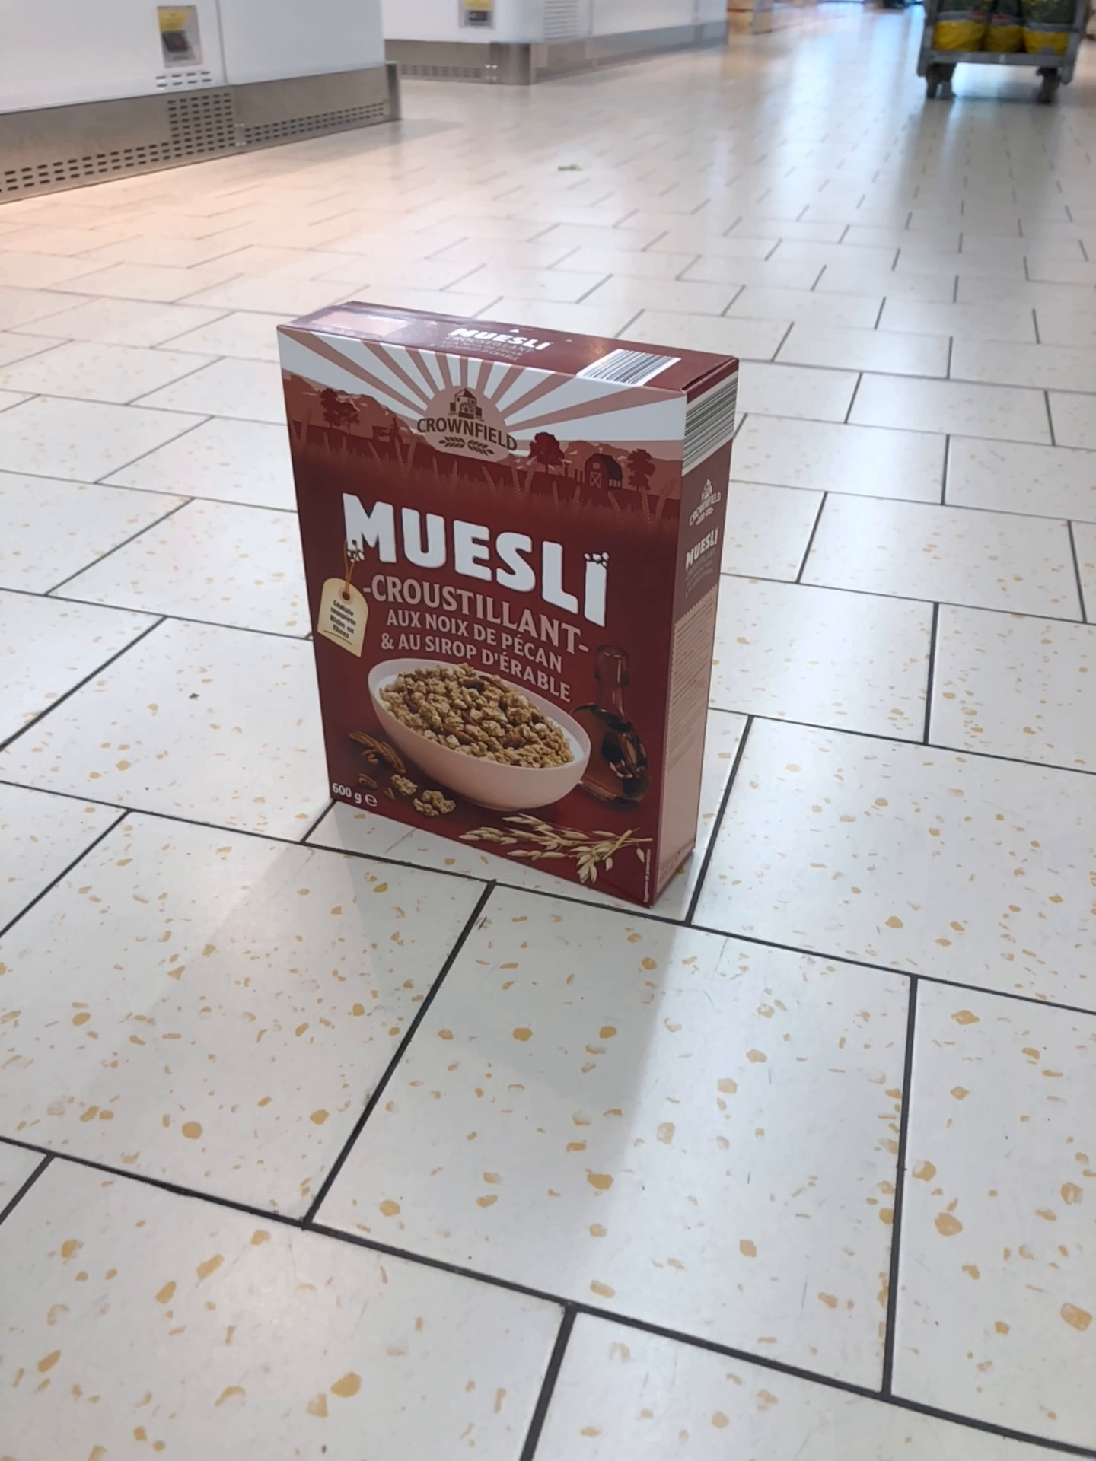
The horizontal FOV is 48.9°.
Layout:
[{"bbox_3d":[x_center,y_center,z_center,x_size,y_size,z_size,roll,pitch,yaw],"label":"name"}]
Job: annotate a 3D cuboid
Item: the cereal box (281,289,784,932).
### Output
[{"bbox_3d":[-0.012,-0.055,0.550,0.200,0.248,0.060,17,34,25],"label":"cereal box"}]
